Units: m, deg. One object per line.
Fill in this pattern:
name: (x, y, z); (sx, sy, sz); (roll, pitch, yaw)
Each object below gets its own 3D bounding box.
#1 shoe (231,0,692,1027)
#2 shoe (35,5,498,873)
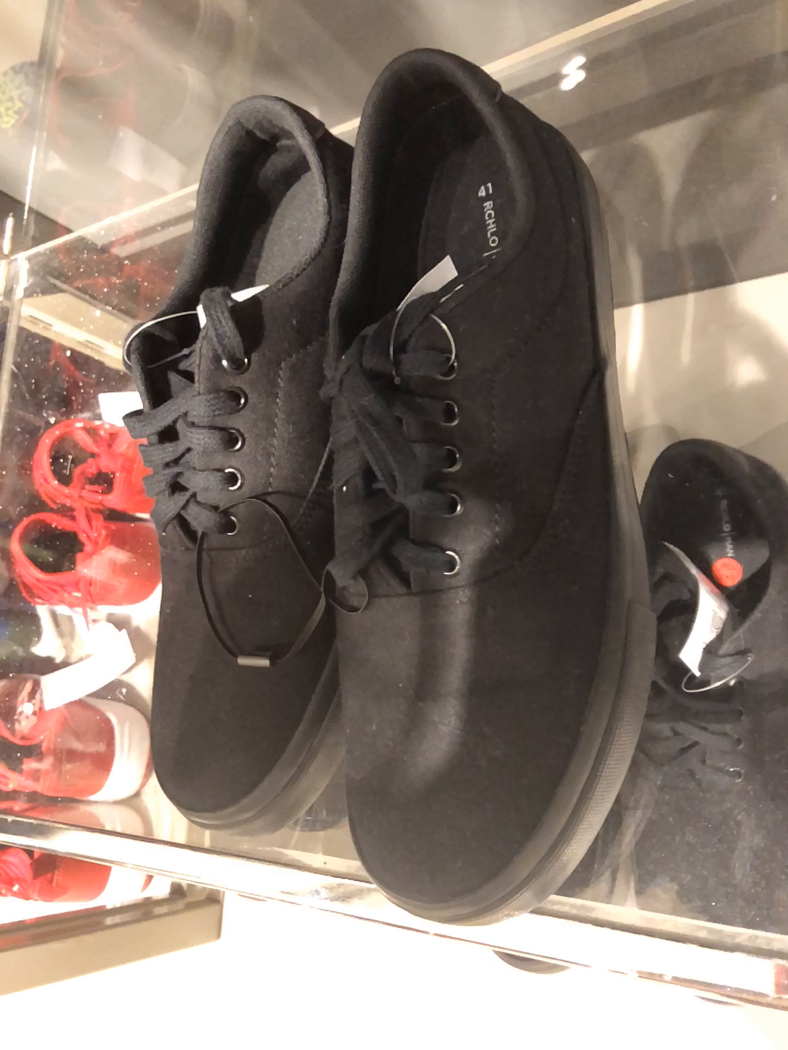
shoe: (0.035, -0.021, 0.318); (0.110, 0.110, 0.320); (-5, 76, 34)
shoe: (-0.047, -0.033, 0.386); (0.110, 0.110, 0.320); (1, 79, 35)
